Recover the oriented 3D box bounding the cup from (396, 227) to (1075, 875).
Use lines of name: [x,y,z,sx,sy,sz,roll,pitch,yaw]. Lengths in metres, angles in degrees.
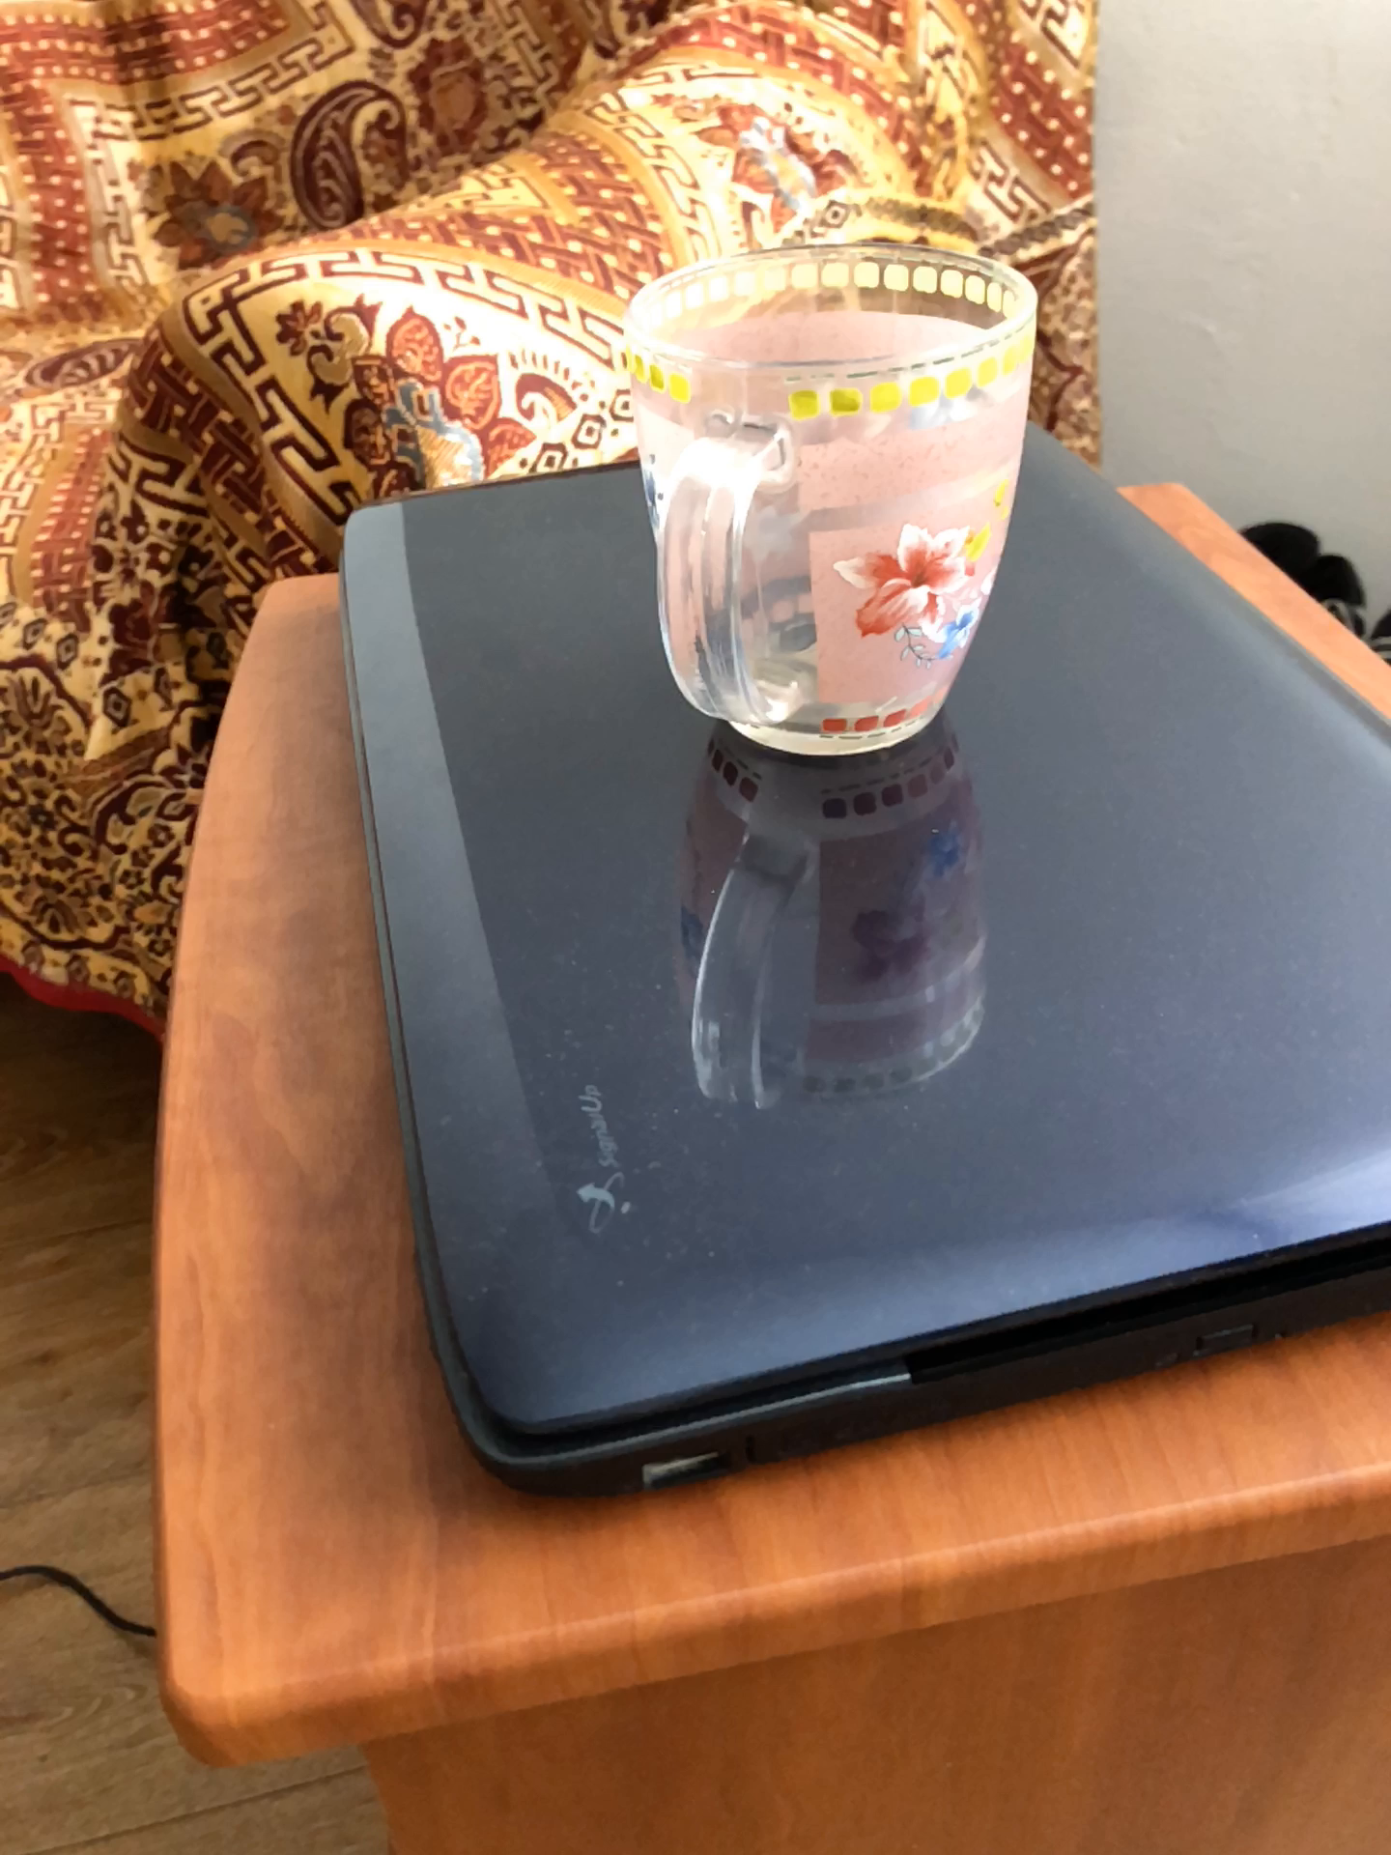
cup: [0.016,-0.089,0.330,0.095,0.081,0.131,13,39,19]
